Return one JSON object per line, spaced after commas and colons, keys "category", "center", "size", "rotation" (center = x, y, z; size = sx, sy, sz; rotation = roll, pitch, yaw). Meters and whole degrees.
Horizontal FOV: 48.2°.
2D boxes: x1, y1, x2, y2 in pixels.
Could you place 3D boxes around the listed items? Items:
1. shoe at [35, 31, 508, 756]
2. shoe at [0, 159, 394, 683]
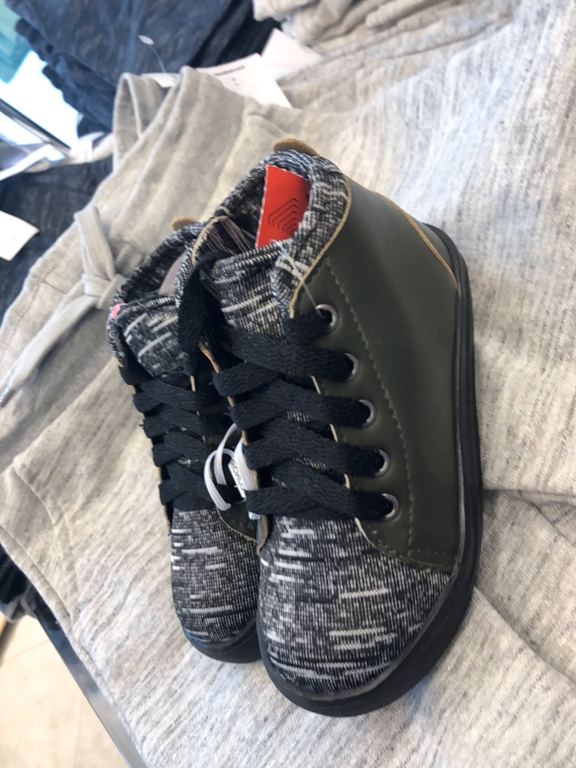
{"category": "shoe", "center": [0.008, 0.006, 0.197], "size": [0.080, 0.089, 0.170], "rotation": [-9, 63, 40]}
{"category": "shoe", "center": [-0.027, 0.018, 0.248], "size": [0.080, 0.089, 0.160], "rotation": [-6, 65, 41]}
